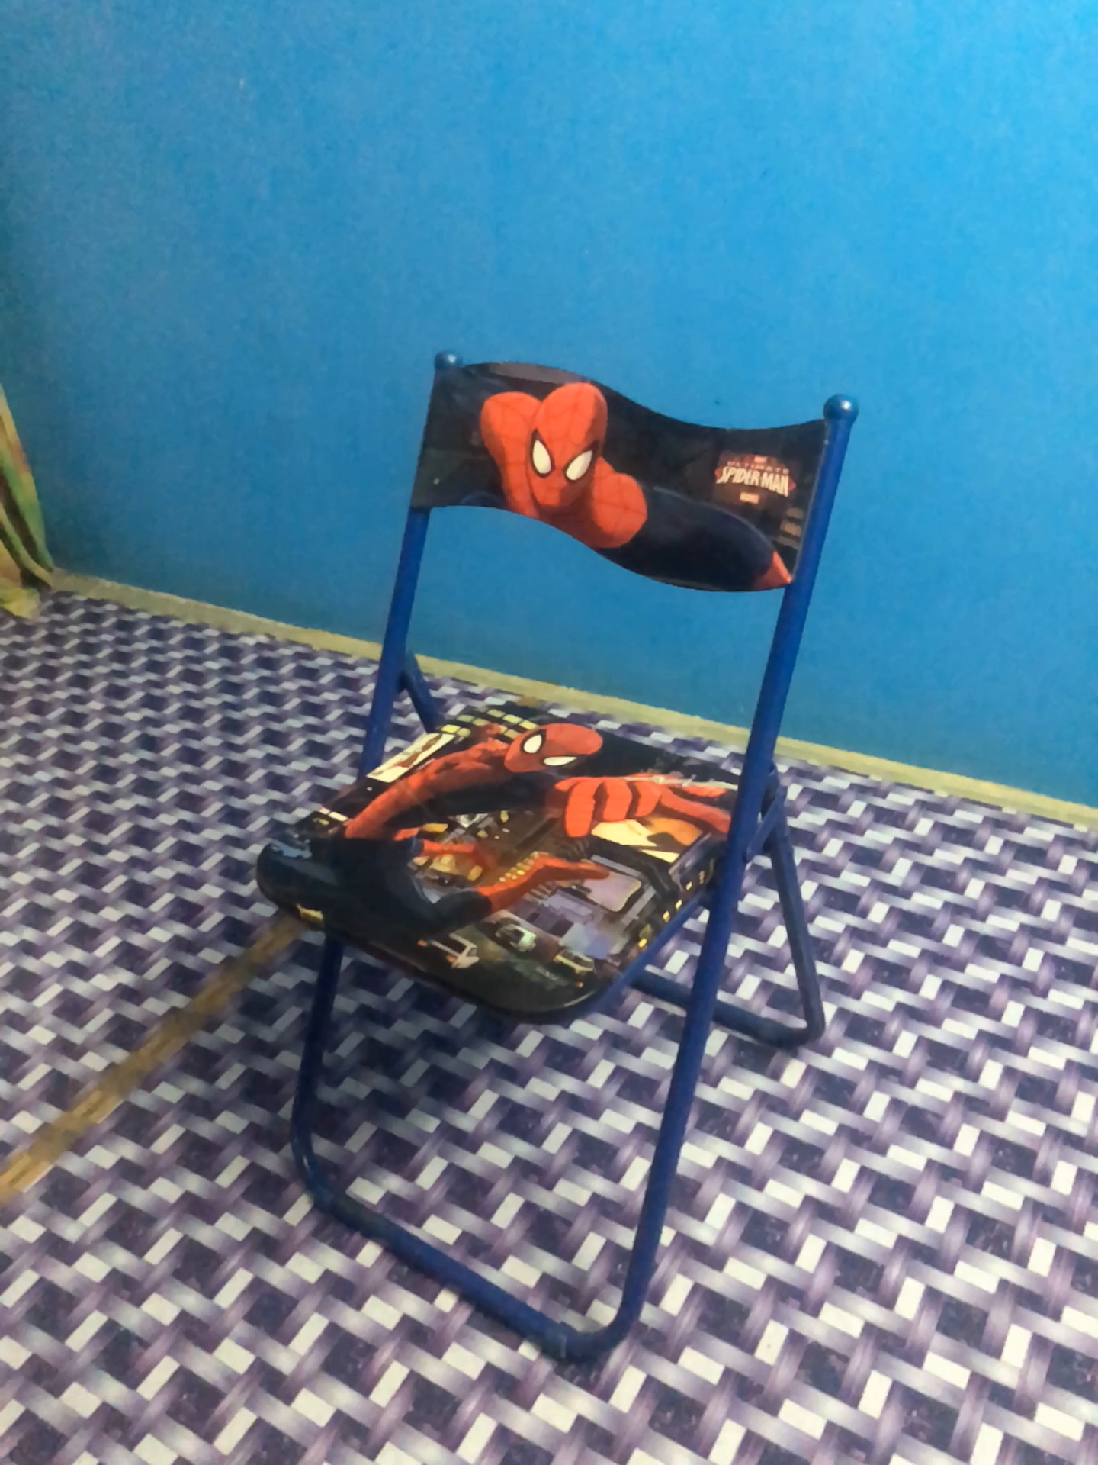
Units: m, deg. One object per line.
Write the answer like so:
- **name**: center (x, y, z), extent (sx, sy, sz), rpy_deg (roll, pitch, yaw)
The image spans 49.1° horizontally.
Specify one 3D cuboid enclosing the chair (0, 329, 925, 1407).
- **chair**: center (-0.030, 0.065, 1.126), extent (0.510, 0.686, 0.563), rpy_deg (17, 38, 30)
